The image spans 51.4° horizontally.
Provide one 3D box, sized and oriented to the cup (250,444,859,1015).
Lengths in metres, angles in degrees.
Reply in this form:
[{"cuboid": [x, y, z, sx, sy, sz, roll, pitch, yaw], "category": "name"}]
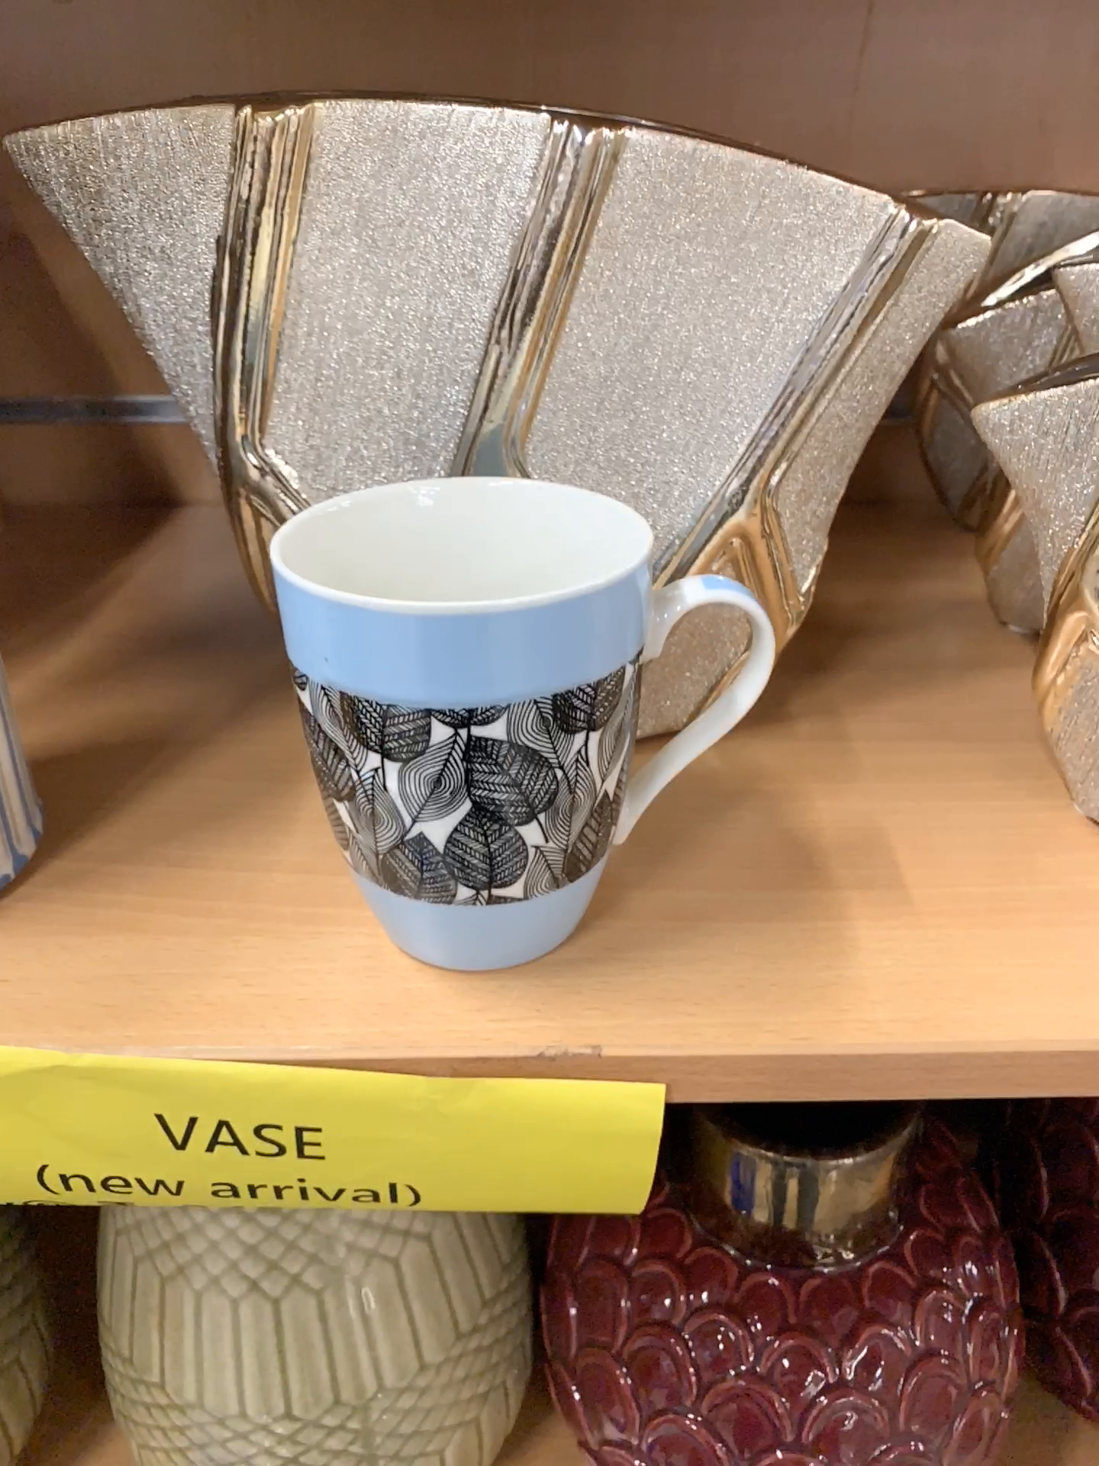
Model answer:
[{"cuboid": [-0.004, -0.008, 0.257, 0.110, 0.090, 0.080, -7, 27, -12], "category": "cup"}]
